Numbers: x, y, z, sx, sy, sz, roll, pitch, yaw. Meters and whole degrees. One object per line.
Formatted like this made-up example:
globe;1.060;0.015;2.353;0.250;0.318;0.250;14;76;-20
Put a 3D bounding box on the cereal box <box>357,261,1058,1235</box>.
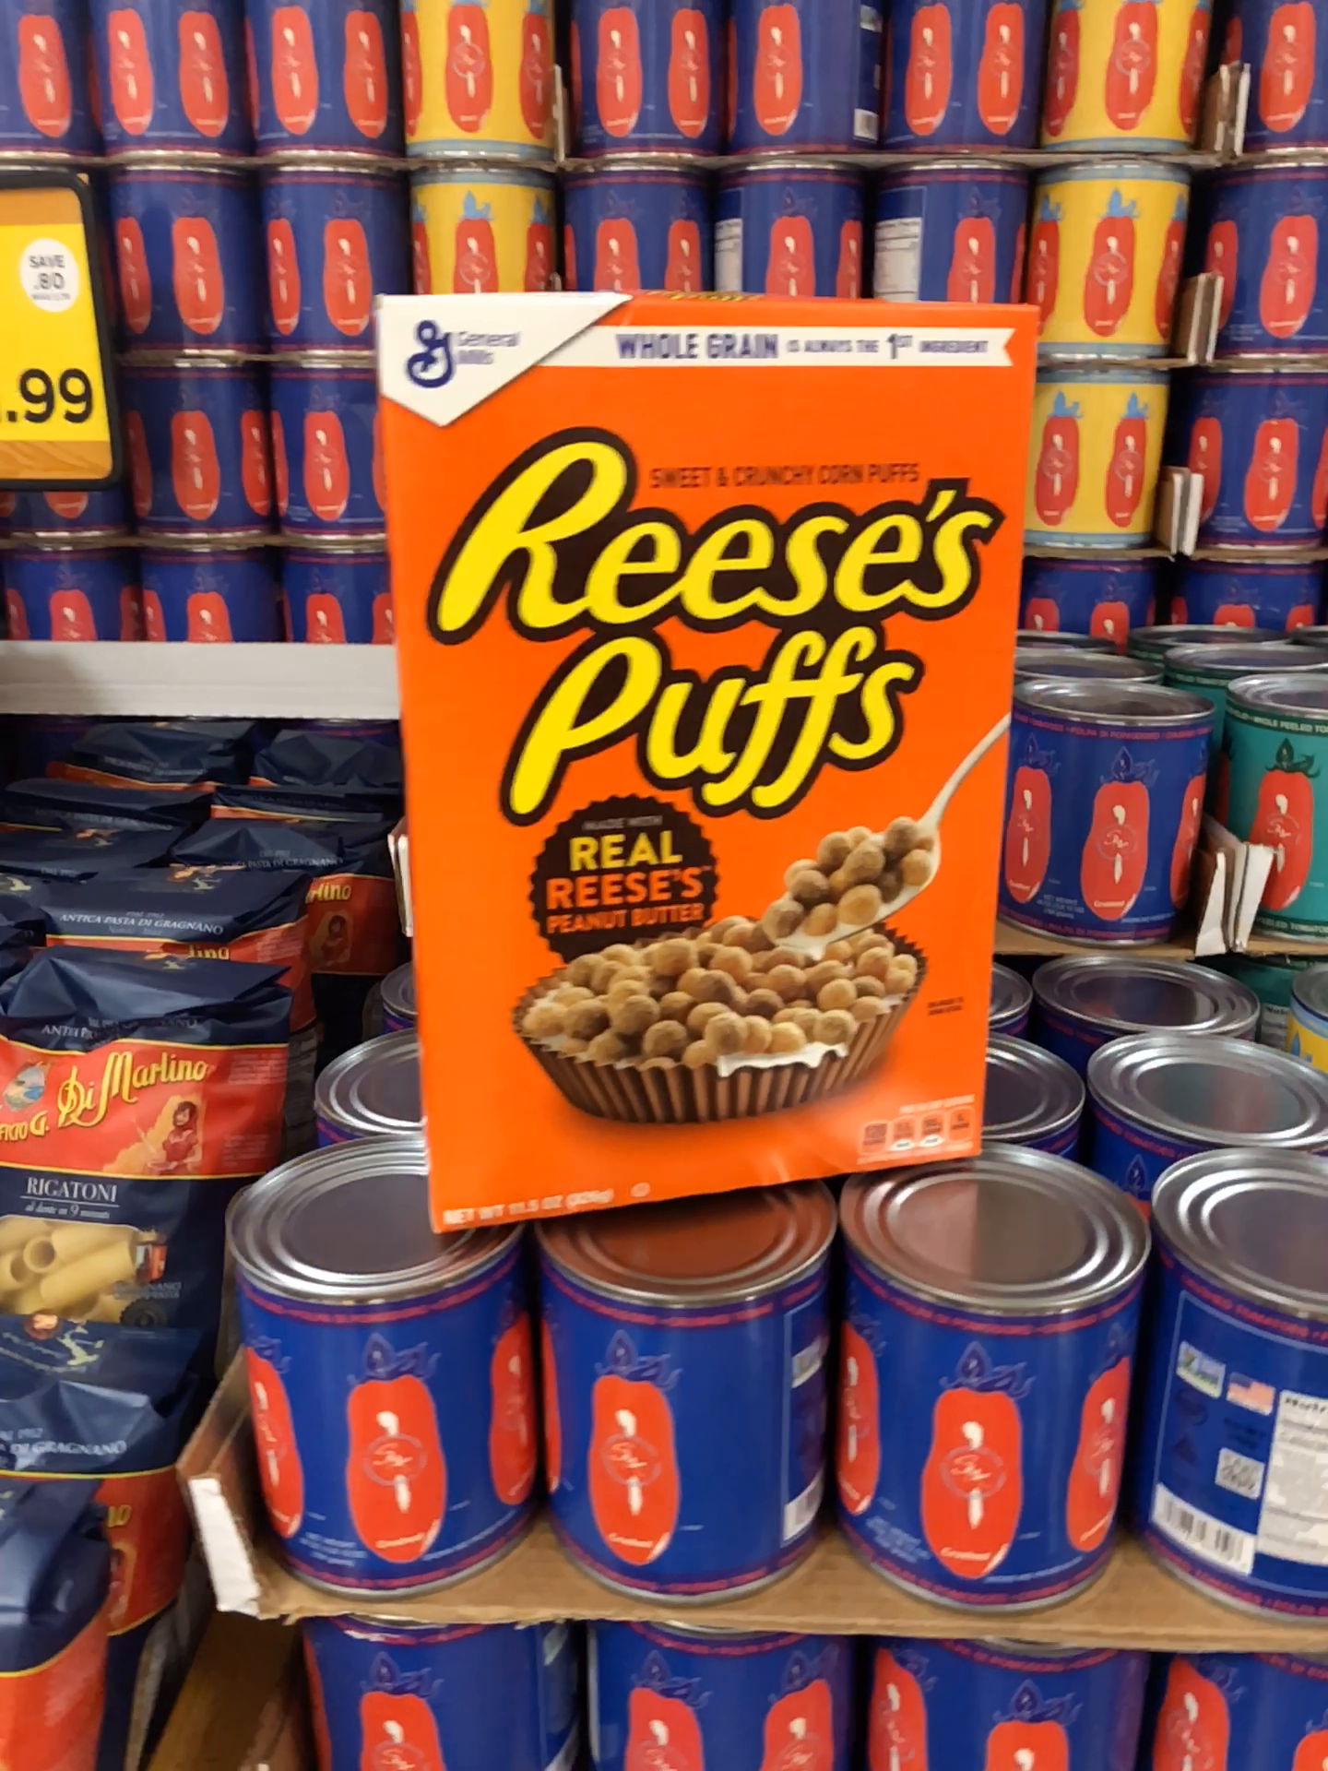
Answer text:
cereal box;0.014;-0.042;0.473;0.200;0.288;0.050;-5;18;-15
